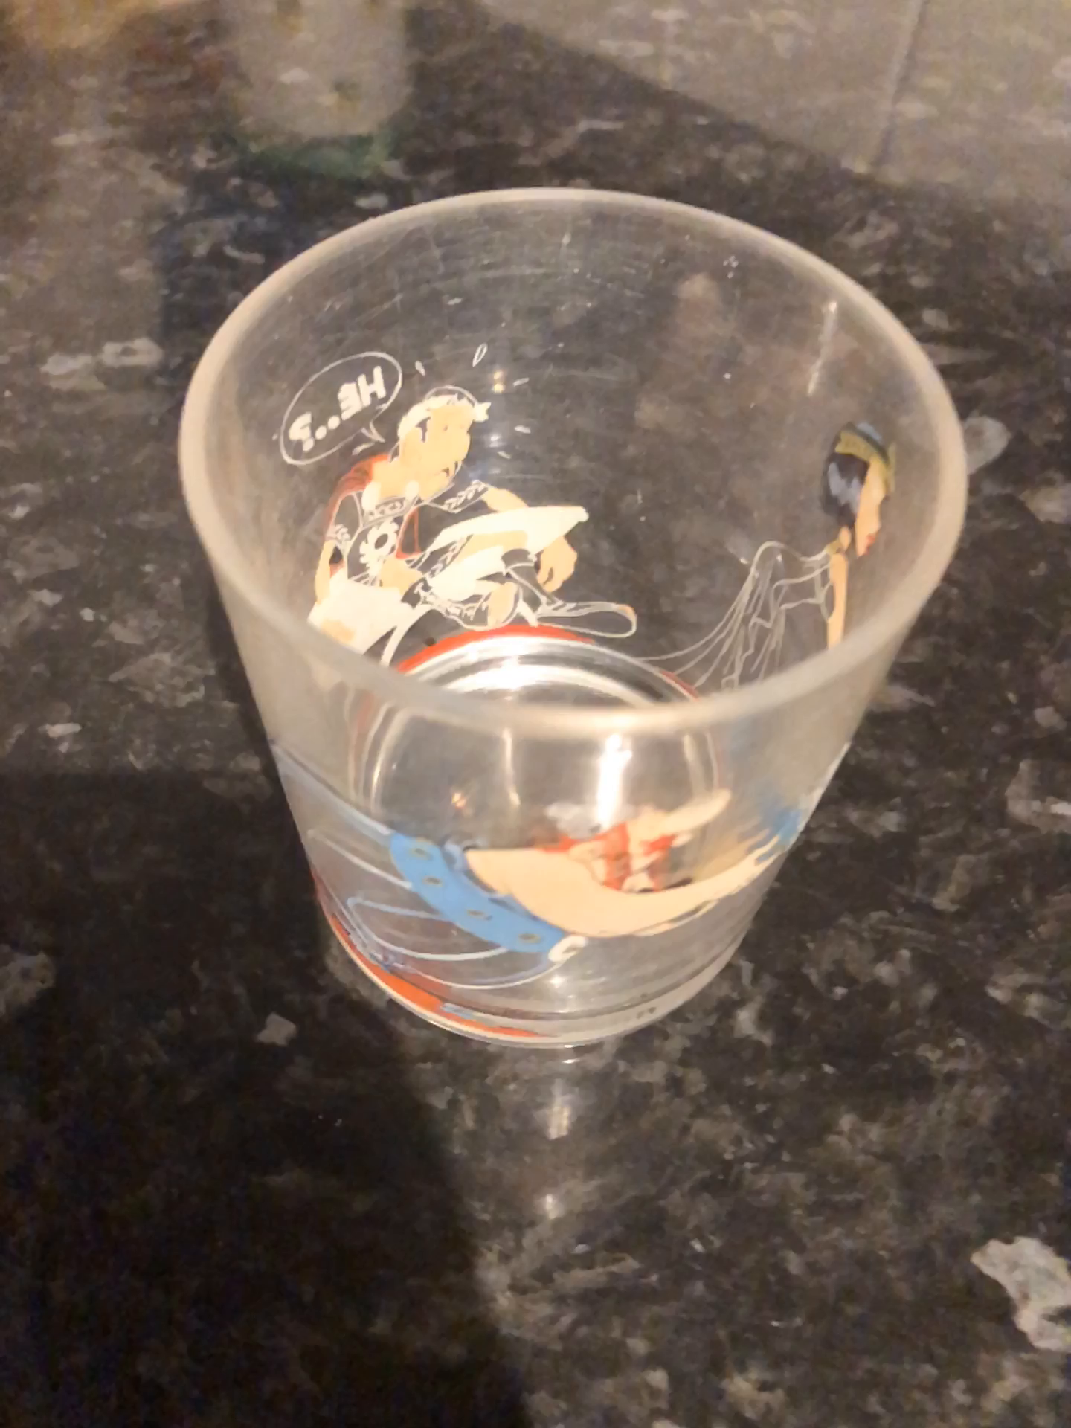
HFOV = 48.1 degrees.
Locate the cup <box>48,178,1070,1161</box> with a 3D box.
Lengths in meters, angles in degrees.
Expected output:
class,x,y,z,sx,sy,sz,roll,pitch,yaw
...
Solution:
class,x,y,z,sx,sy,sz,roll,pitch,yaw
cup,0.002,-0.003,0.140,0.080,0.080,0.080,2,55,-2
